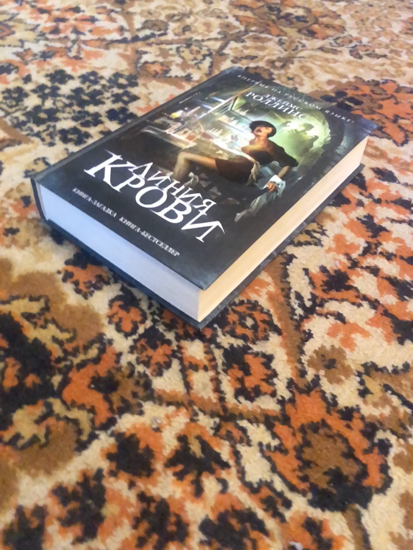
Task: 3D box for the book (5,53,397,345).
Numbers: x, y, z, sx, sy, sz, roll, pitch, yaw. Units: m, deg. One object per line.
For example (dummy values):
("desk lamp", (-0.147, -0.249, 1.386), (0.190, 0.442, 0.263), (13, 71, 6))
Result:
("book", (0.008, -0.079, 0.326), (0.159, 0.040, 0.226), (32, 54, 23))
